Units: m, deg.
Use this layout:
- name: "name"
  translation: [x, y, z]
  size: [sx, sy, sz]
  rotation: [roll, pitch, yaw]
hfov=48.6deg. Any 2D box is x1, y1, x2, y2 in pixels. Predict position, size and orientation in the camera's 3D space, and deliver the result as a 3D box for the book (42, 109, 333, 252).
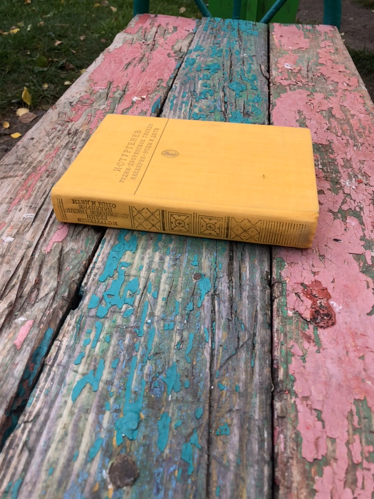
- name: "book"
  translation: [0.008, -0.072, 0.371]
  size: [0.217, 0.032, 0.153]
  rotation: [6, 42, 7]
